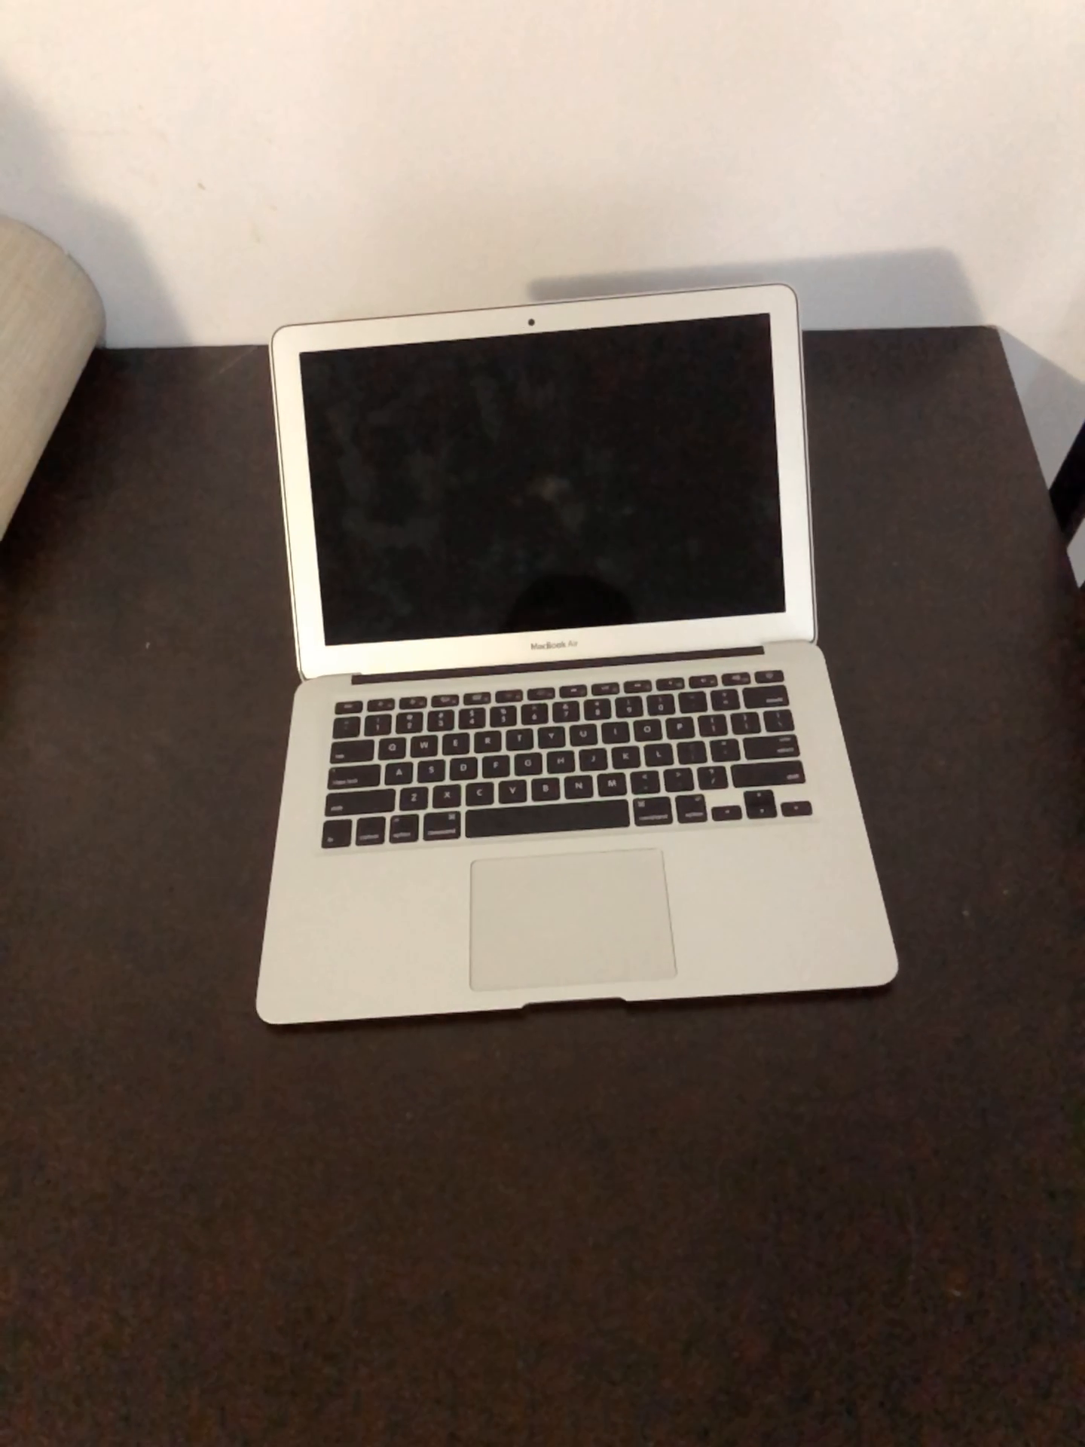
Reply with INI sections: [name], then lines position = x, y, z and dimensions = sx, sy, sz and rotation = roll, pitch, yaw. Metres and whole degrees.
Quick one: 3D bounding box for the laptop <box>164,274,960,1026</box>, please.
[laptop]
position = 0.006, -0.055, 0.616
dimensions = 0.303, 0.136, 0.362
rotation = -4, 51, 3
